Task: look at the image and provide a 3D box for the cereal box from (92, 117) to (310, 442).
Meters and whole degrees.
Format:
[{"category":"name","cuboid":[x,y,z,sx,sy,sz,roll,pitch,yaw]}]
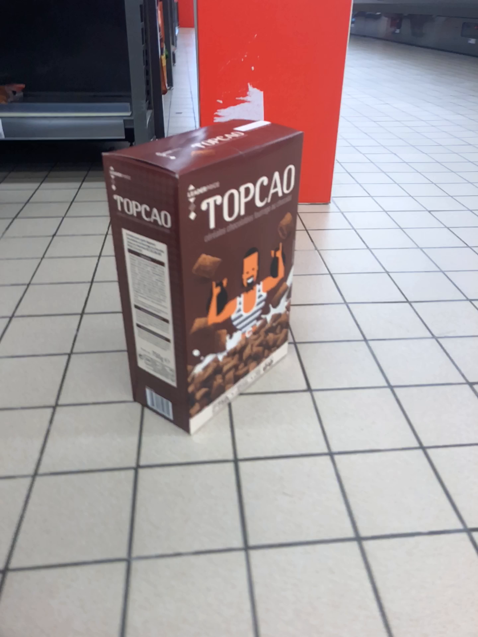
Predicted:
[{"category":"cereal box","cuboid":[-0.027,-0.049,0.575,0.100,0.288,0.201,22,38,32]}]
